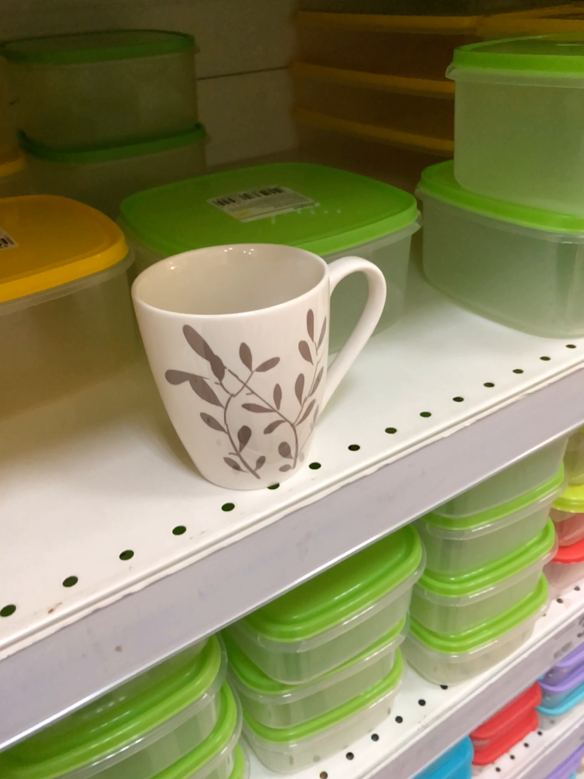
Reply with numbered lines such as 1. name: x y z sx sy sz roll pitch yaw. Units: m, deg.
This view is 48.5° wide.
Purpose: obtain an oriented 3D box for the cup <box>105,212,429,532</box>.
1. cup: -0.009 -0.017 0.321 0.121 0.097 0.086 -25 39 -30
